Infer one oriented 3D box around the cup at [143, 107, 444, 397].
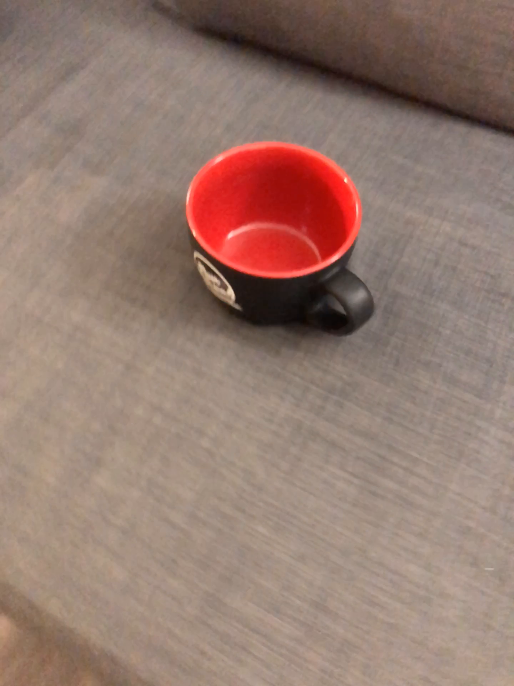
[{"bbox_3d":[0.021,-0.069,0.412,0.120,0.080,0.160,-37,66,-21],"label":"cup"}]
